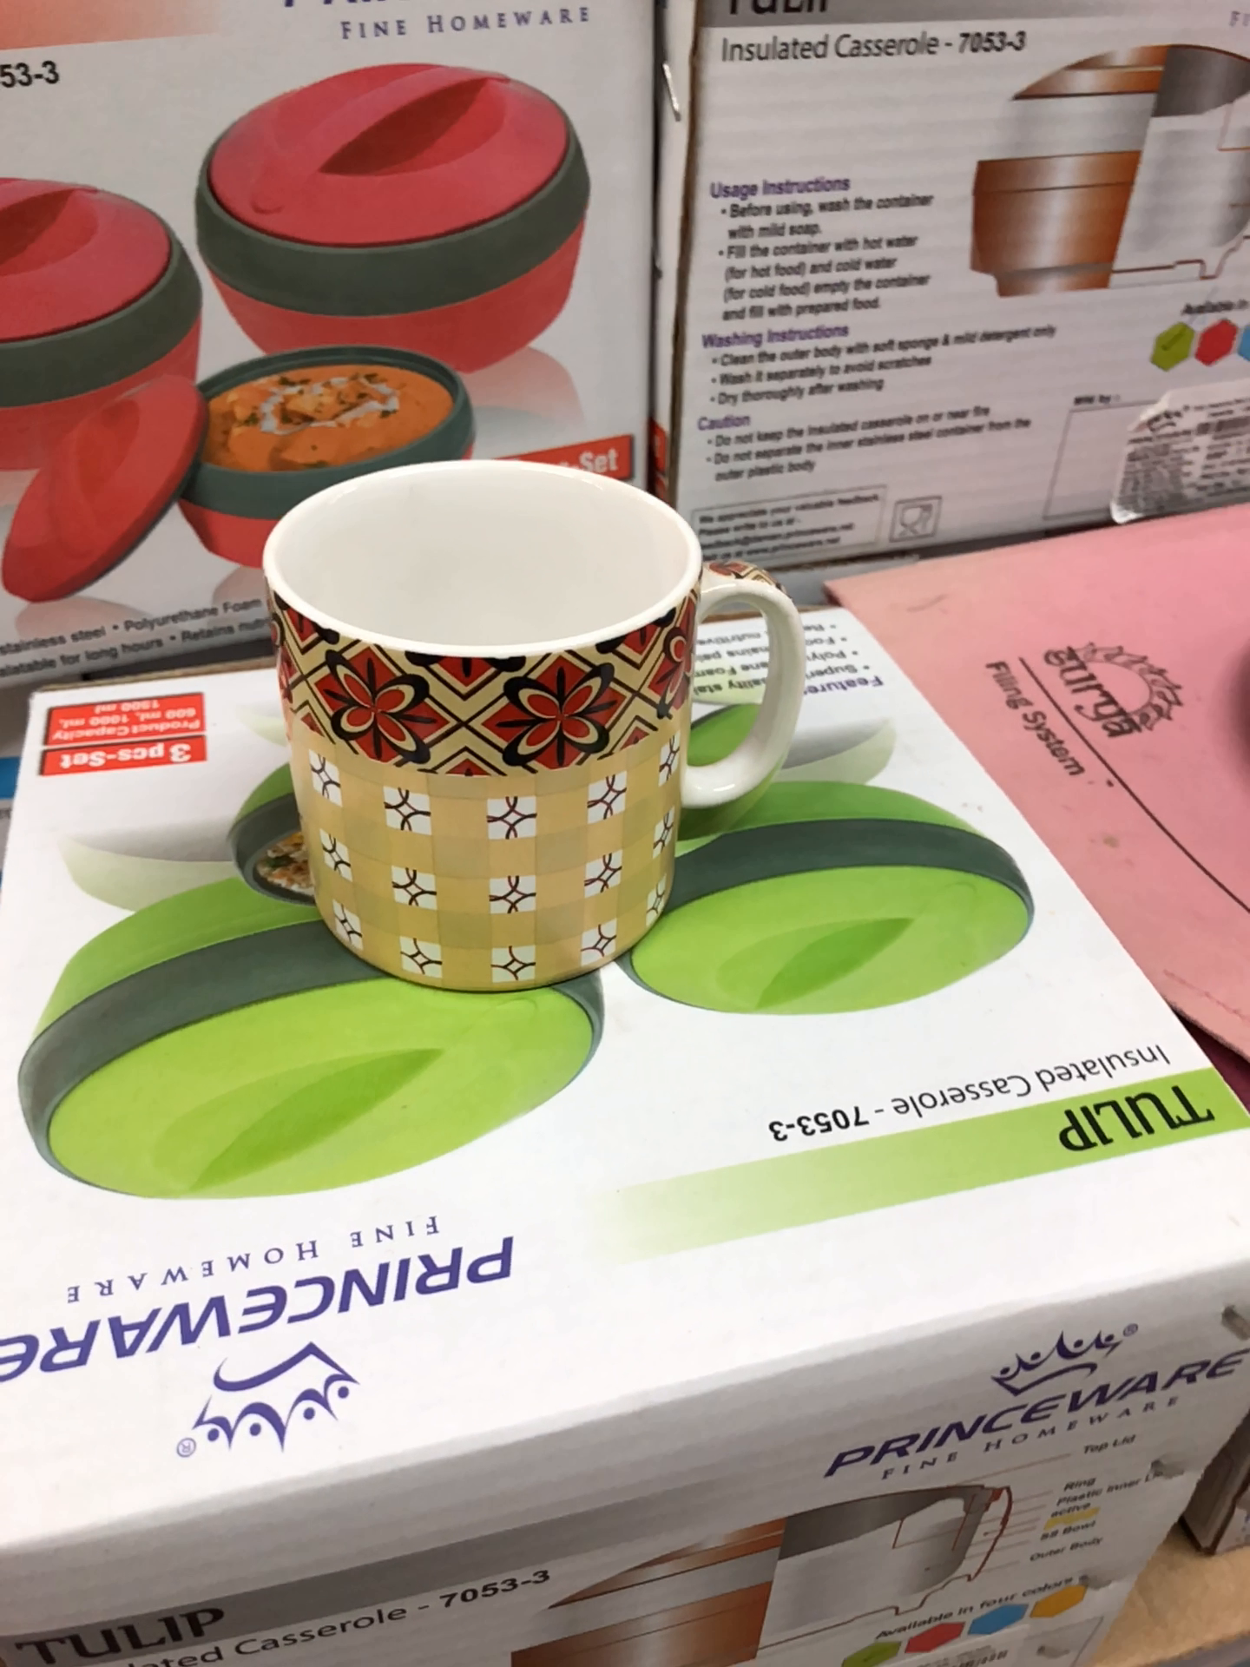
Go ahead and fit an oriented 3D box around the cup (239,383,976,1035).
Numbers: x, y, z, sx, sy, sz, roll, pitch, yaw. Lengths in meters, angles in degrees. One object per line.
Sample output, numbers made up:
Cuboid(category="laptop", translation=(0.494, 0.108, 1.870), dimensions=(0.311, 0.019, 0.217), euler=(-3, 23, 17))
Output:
Cuboid(category="cup", translation=(-0.008, -0.029, 0.266), dimensions=(0.110, 0.079, 0.080), euler=(-10, 38, -15))
